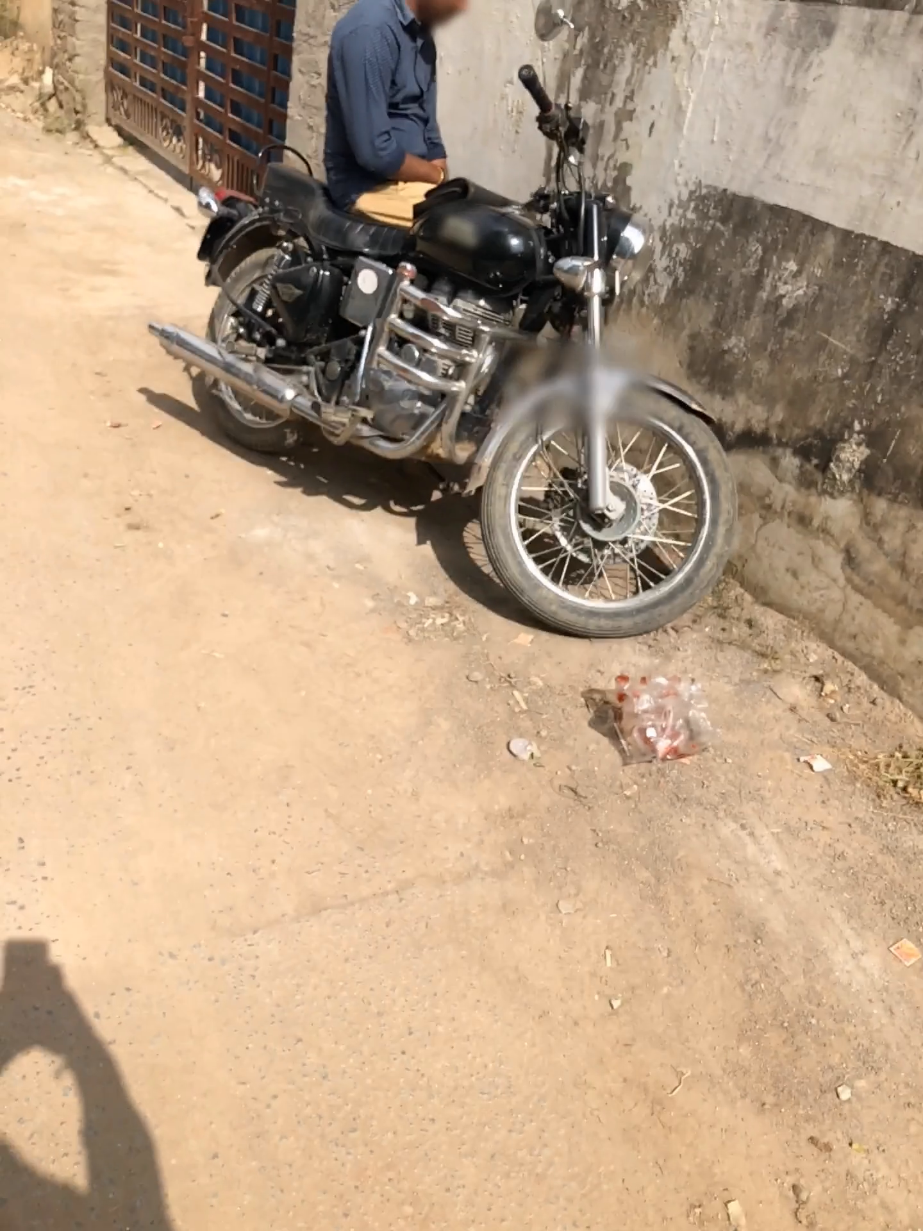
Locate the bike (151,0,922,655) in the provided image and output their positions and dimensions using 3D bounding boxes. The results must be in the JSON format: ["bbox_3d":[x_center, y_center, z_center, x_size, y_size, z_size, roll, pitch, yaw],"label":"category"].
[{"bbox_3d":[0.106,-0.949,2.970,1.930,1.317,0.886,29,34,30],"label":"bike"}]
